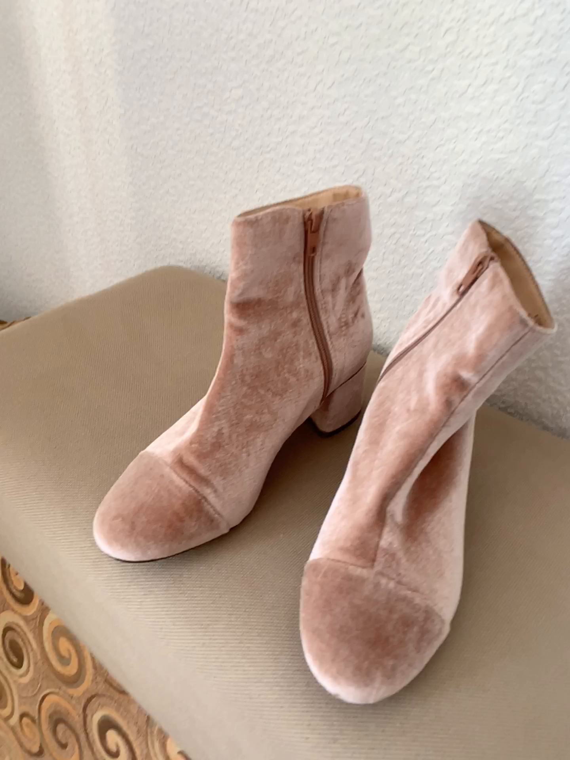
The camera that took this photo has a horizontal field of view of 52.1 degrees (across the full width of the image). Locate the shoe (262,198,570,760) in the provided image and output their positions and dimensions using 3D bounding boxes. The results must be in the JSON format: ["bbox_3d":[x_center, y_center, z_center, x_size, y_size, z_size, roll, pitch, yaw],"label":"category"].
[{"bbox_3d":[0.088,0.031,0.336,0.100,0.169,0.271,15,40,16],"label":"shoe"}]

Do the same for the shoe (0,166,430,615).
[{"bbox_3d":[-0.028,-0.010,0.364,0.100,0.169,0.231,30,45,31],"label":"shoe"}]
